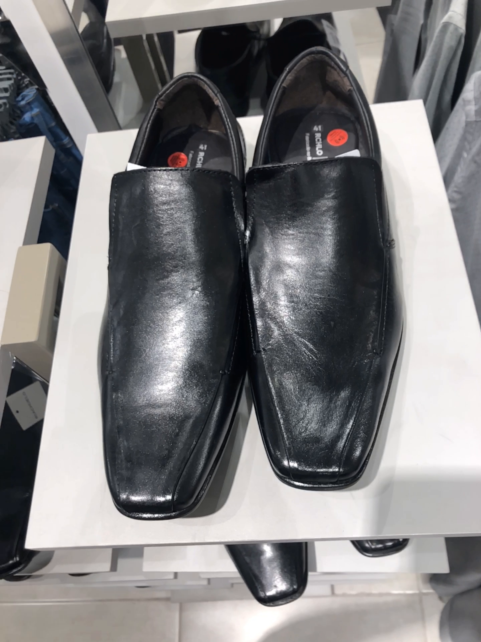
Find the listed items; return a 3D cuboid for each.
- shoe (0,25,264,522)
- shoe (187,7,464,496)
[{"bbox_3d":[-0.046,-0.040,0.339,0.110,0.100,0.301,-3,62,8],"label":"shoe"},{"bbox_3d":[0.044,-0.049,0.324,0.110,0.100,0.281,-3,62,8],"label":"shoe"}]
